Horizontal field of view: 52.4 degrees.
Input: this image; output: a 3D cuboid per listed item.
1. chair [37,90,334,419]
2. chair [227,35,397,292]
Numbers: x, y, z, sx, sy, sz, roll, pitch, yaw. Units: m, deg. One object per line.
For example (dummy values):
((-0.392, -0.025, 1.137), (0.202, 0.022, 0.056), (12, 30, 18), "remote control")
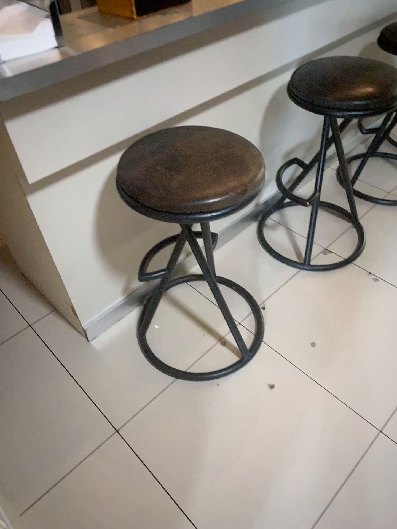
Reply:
((-0.021, -0.040, 1.304), (0.548, 0.727, 0.552), (33, 55, 31), "chair")
((0.499, -0.416, 1.639), (0.527, 0.727, 0.552), (33, 55, 31), "chair")
